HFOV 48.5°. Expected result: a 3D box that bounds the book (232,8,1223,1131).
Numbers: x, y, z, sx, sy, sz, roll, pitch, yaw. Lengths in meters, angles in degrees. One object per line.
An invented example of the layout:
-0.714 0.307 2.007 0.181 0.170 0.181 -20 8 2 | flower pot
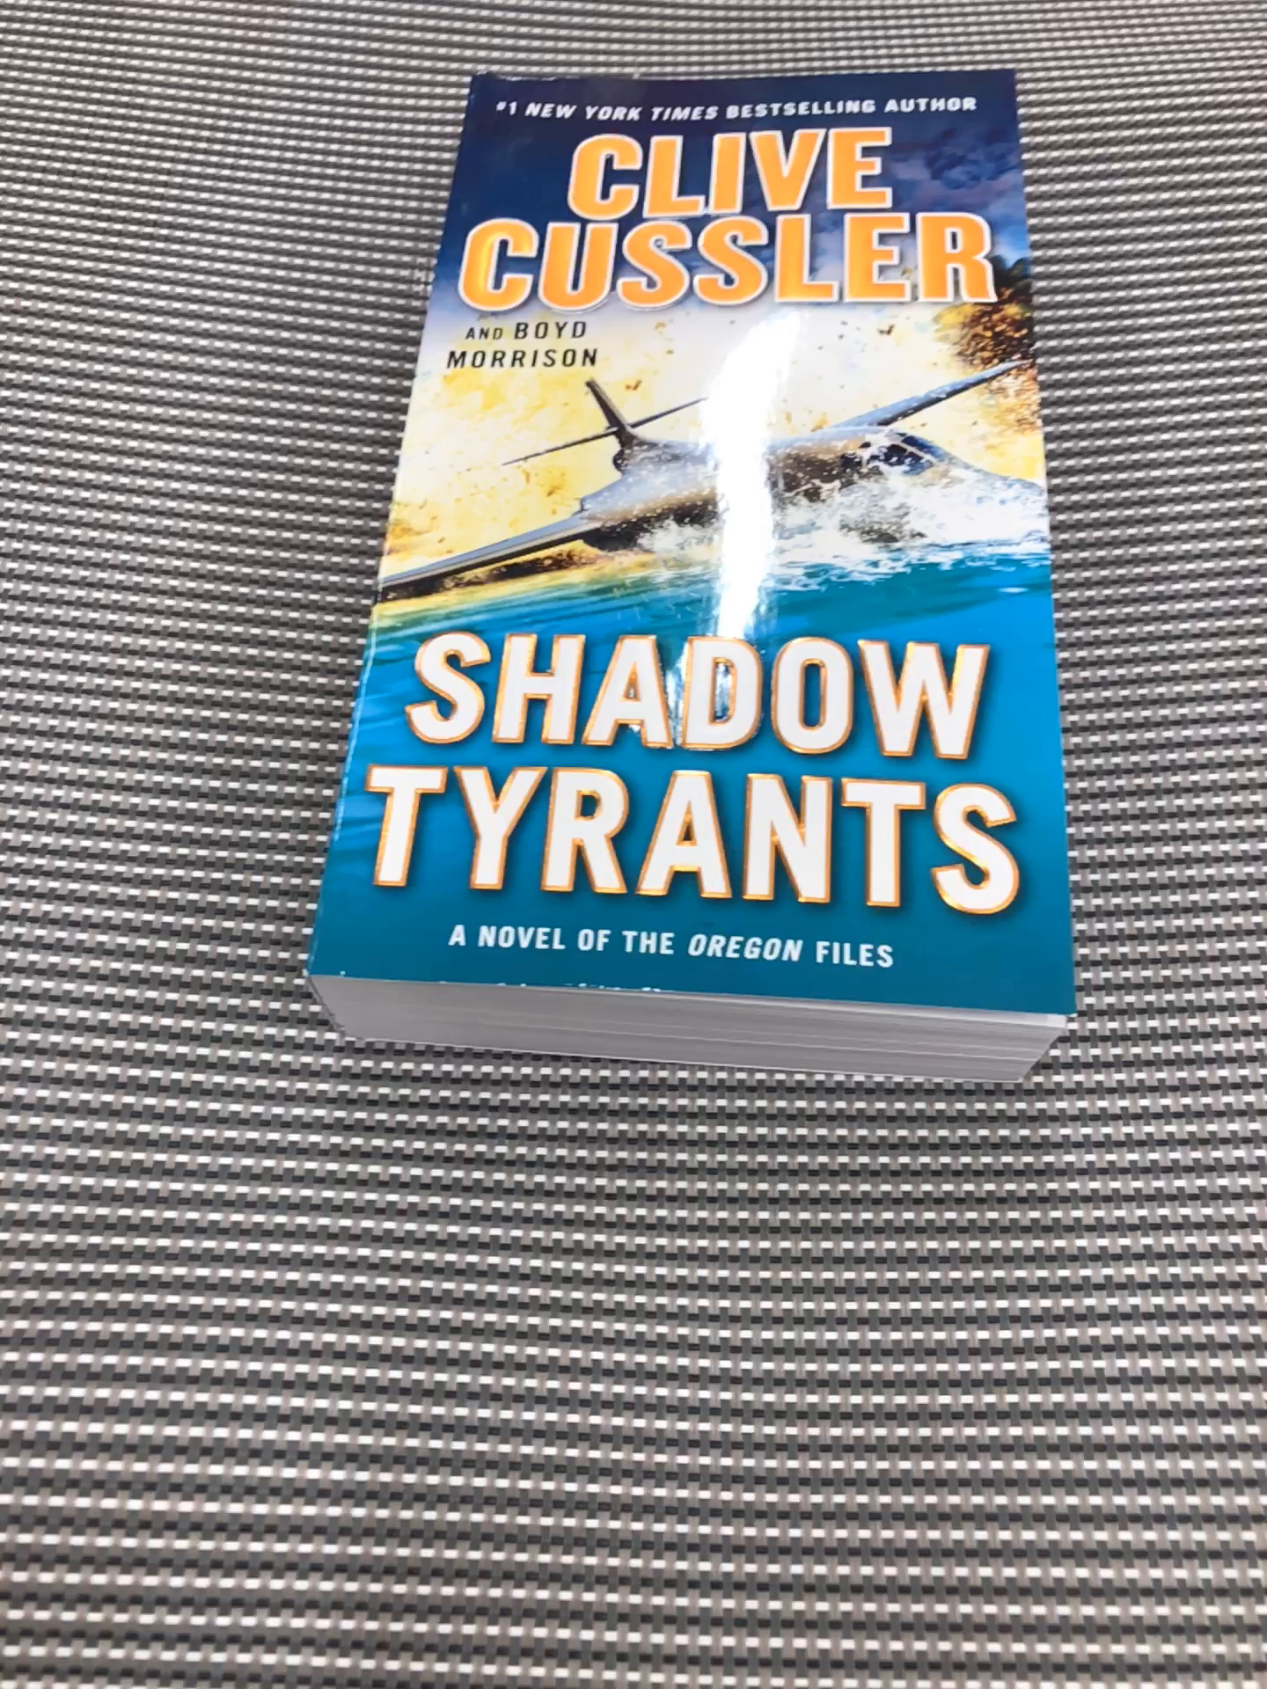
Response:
0.019 -0.053 0.237 0.120 0.060 0.181 4 64 4 | book
